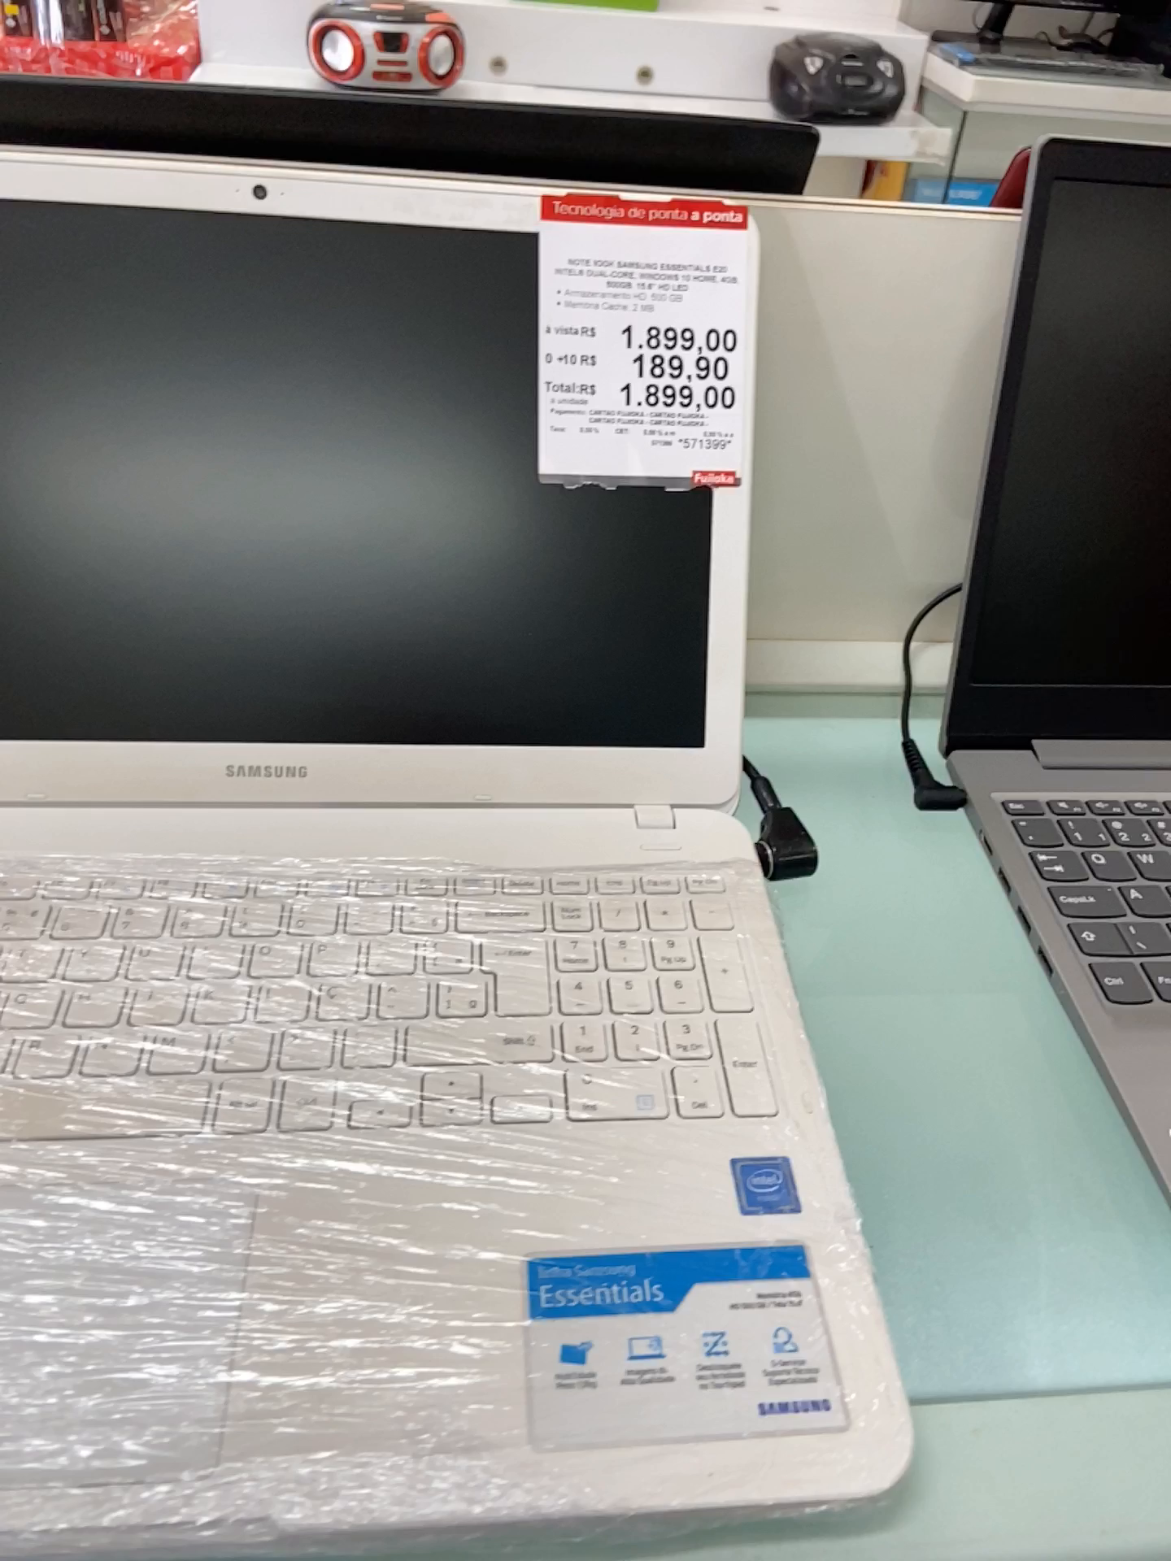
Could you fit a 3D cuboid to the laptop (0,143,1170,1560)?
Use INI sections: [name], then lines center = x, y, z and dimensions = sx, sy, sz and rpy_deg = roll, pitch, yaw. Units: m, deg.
[laptop]
center = -0.113, -0.027, 0.365
dimensions = 0.375, 0.192, 0.383
rpy_deg = 1, 40, -6
